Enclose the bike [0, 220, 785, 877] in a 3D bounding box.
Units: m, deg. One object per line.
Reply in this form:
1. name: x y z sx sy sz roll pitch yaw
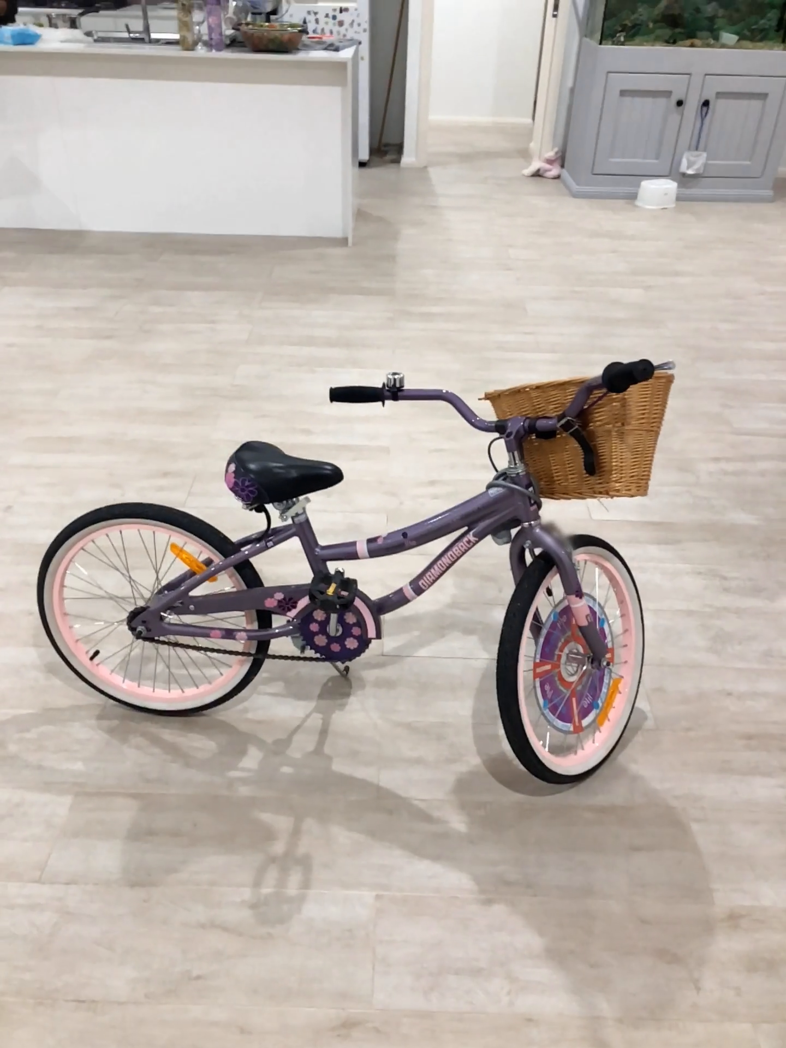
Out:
1. bike: -0.077 0.047 1.657 1.214 0.877 0.751 4 34 -4
